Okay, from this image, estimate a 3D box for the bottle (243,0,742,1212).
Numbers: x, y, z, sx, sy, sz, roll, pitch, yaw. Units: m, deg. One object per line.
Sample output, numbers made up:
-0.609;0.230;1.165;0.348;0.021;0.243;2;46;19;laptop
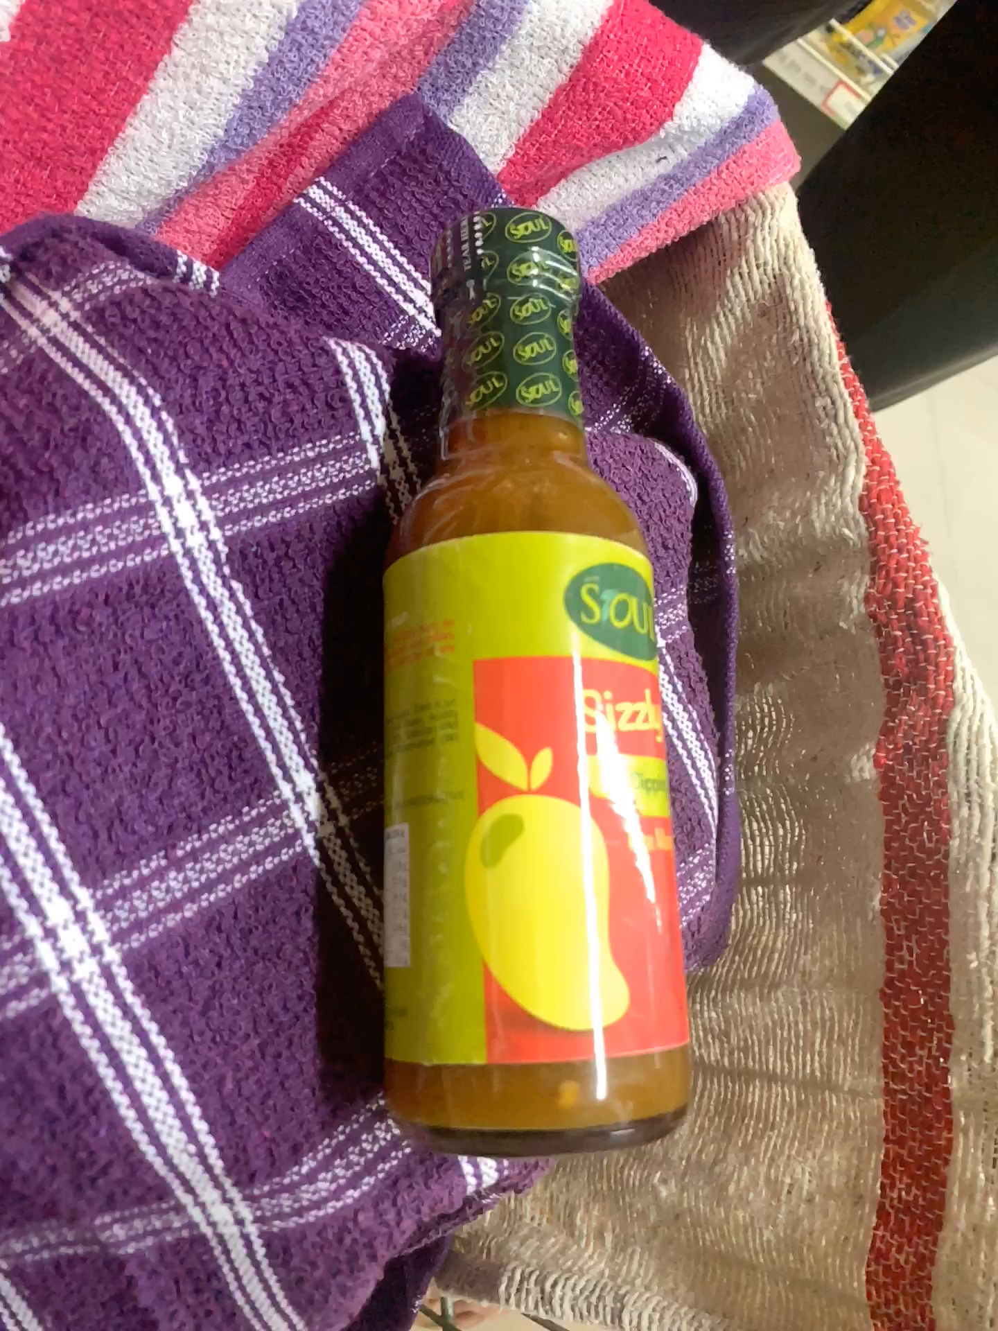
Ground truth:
-0.006;-0.016;0.198;0.060;0.060;0.200;8;72;-34;bottle
